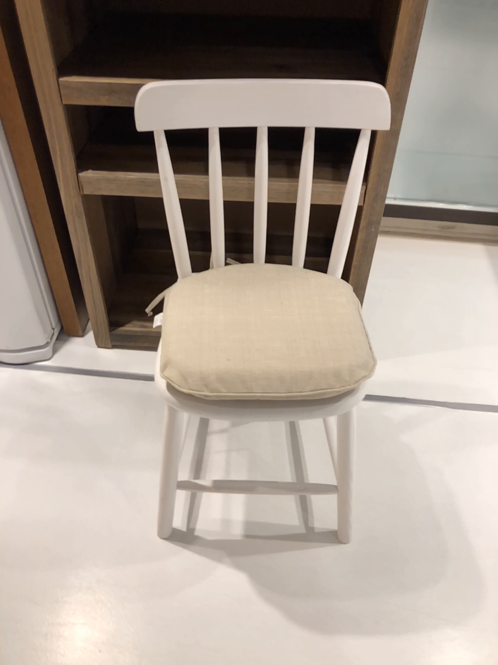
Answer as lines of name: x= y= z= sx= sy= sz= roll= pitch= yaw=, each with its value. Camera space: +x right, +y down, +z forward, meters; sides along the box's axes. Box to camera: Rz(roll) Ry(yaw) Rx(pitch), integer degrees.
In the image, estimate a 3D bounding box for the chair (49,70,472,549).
chair: x=0.006 y=-0.011 z=1.006 sx=0.450 sy=0.725 sz=0.484 roll=2 pitch=43 yaw=-1
